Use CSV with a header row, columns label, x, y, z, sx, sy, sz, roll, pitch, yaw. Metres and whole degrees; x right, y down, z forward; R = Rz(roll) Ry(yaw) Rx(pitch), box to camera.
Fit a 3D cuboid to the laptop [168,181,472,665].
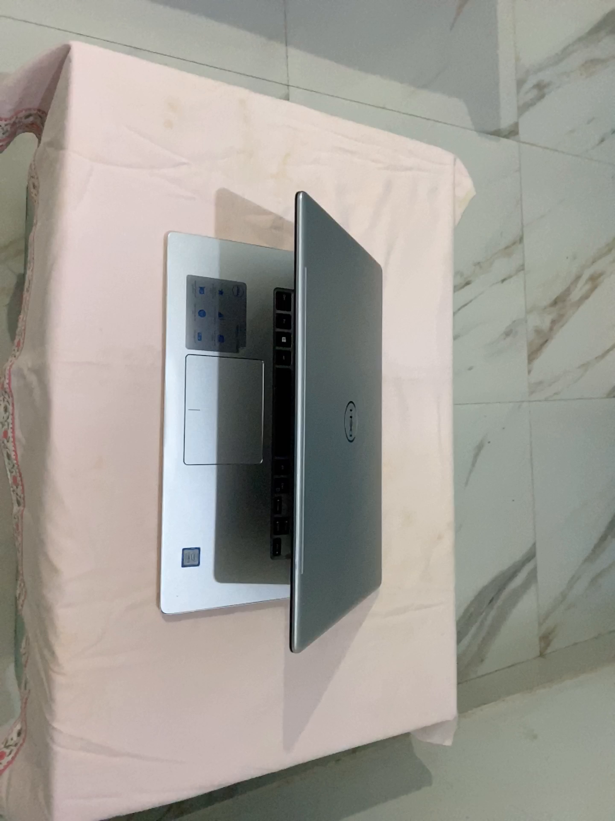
label,x,y,z,sx,sy,sz,roll,pitch,yaw
laptop,0.010,0.012,0.572,0.235,0.149,0.347,1,88,-30
